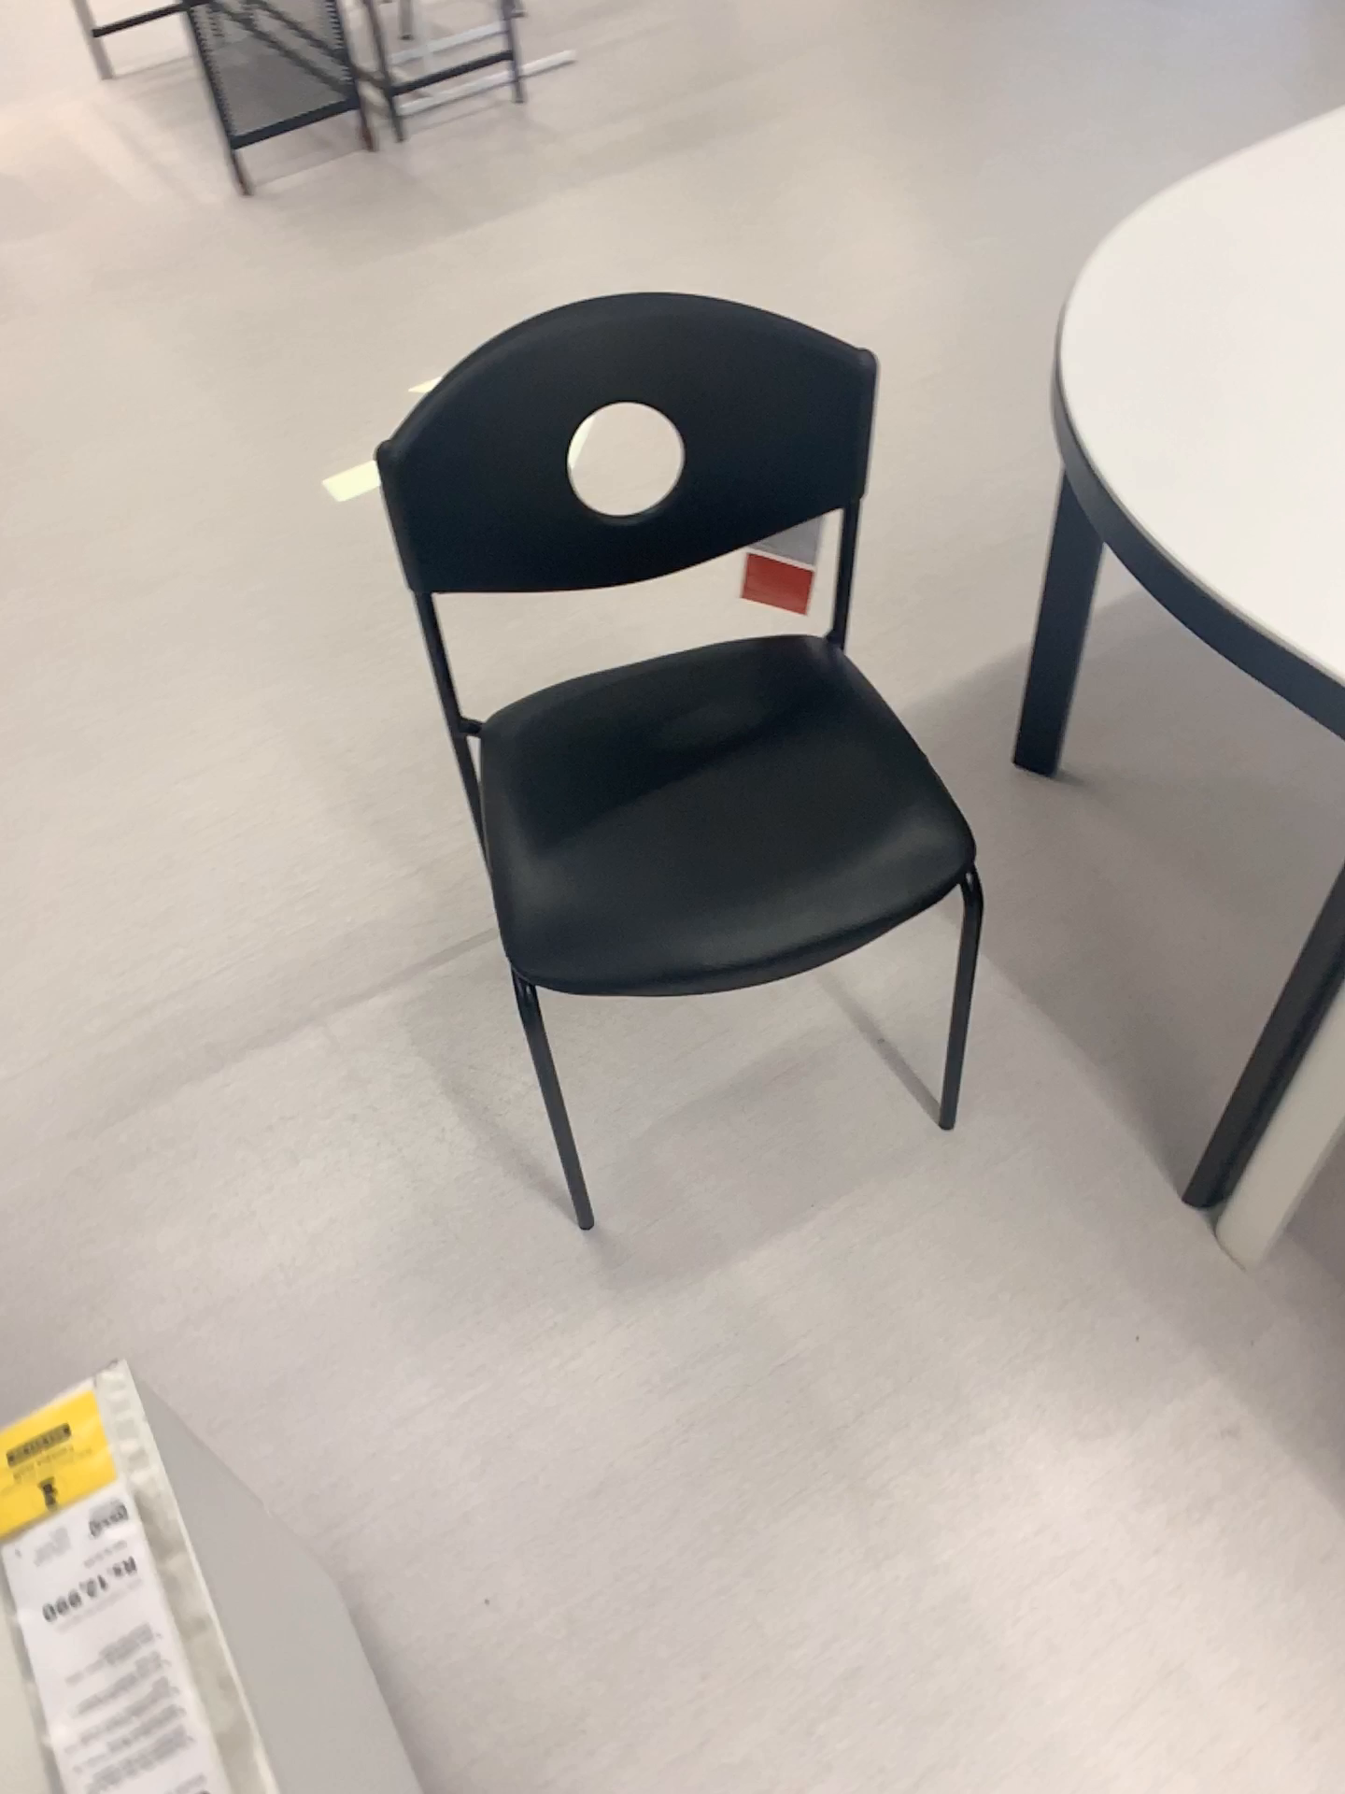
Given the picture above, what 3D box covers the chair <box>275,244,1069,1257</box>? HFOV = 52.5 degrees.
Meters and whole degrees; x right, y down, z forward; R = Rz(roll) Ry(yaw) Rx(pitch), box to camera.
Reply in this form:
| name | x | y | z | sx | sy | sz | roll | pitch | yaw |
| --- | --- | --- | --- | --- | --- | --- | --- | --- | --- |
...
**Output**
| name | x | y | z | sx | sy | sz | roll | pitch | yaw |
| --- | --- | --- | --- | --- | --- | --- | --- | --- | --- |
| chair | -0.018 | -0.126 | 1.402 | 0.510 | 0.737 | 0.582 | -15 | 51 | -7 |
